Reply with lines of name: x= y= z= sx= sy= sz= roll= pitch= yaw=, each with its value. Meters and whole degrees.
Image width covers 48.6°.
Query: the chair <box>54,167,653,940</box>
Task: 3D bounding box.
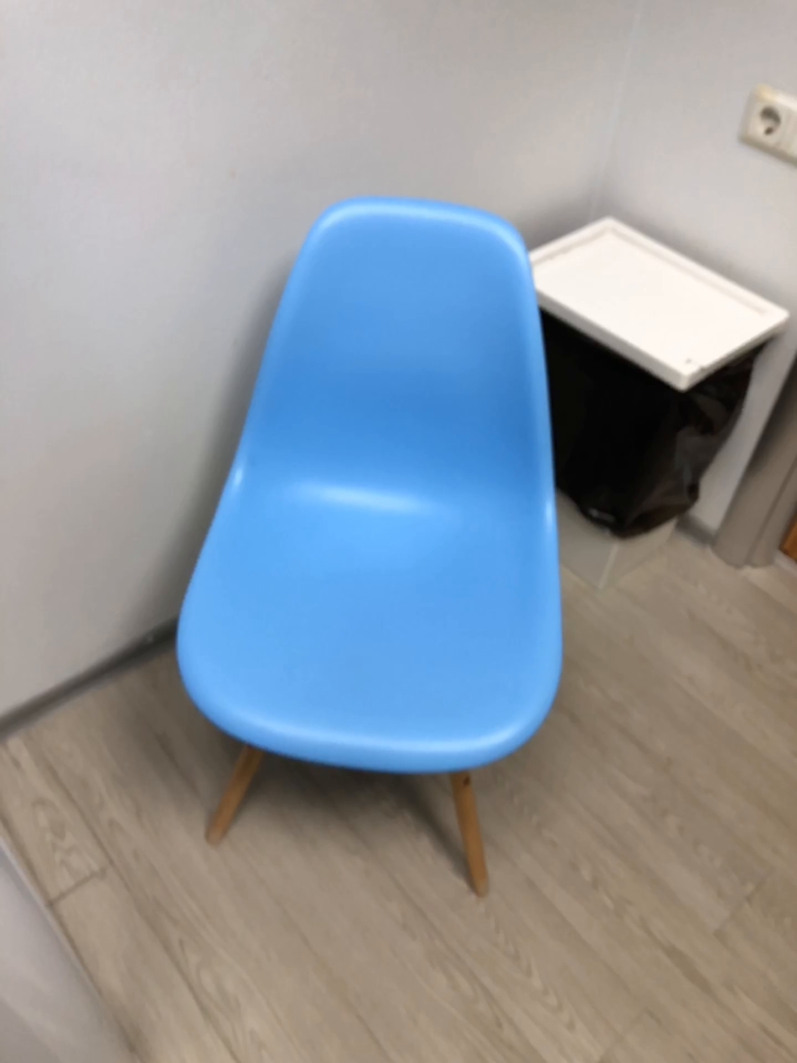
chair: x=-0.011 y=0.061 z=1.124 sx=0.460 sy=0.775 sz=0.534 roll=10 pitch=47 yaw=5
